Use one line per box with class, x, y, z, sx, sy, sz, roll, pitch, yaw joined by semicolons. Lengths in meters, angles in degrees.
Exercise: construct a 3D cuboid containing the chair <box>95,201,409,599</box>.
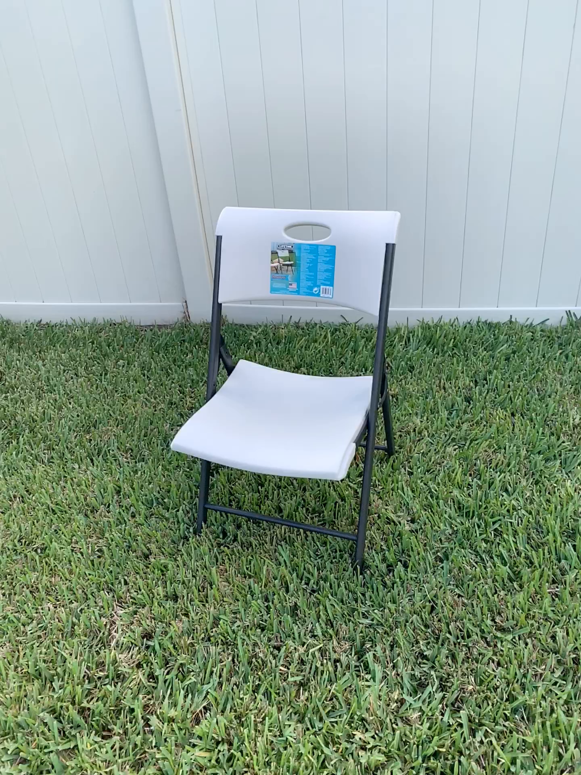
chair;-0.024;-0.006;1.467;0.518;0.766;0.519;7;31;20
